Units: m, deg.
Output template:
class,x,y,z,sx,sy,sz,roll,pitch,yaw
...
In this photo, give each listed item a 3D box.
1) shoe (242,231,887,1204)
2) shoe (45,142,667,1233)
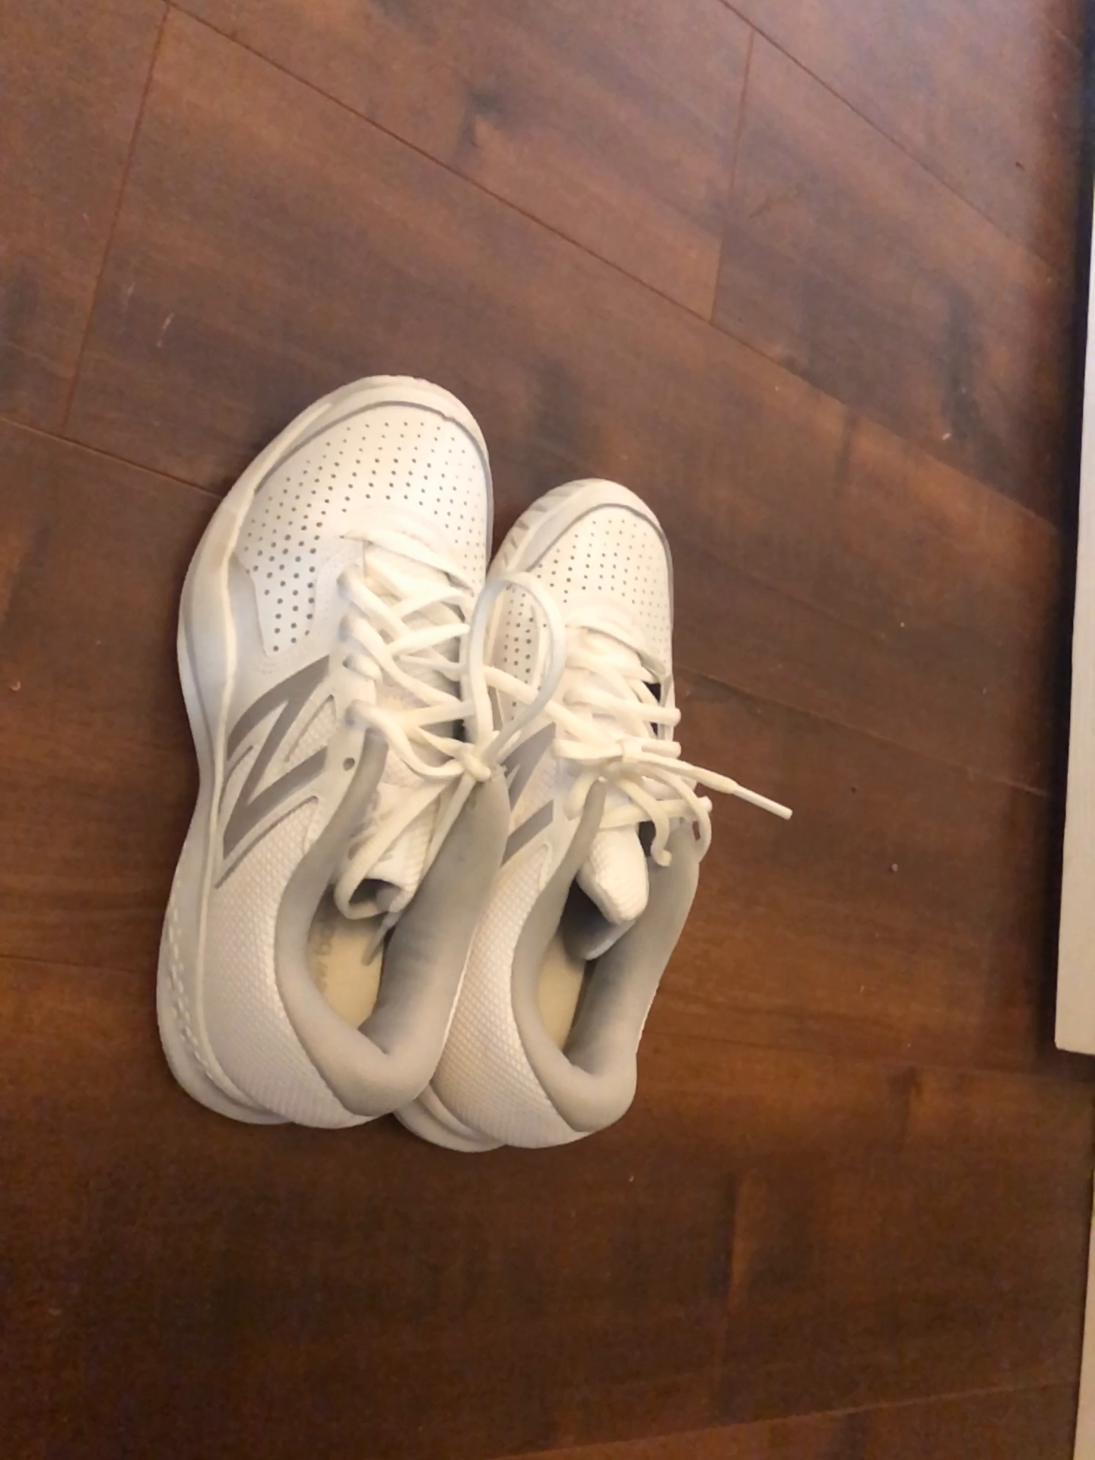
class,x,y,z,sx,sy,sz,roll,pitch,yaw
shoe,0.006,0.000,0.479,0.120,0.169,0.310,21,75,-31
shoe,-0.063,-0.010,0.411,0.100,0.130,0.310,18,76,-35
